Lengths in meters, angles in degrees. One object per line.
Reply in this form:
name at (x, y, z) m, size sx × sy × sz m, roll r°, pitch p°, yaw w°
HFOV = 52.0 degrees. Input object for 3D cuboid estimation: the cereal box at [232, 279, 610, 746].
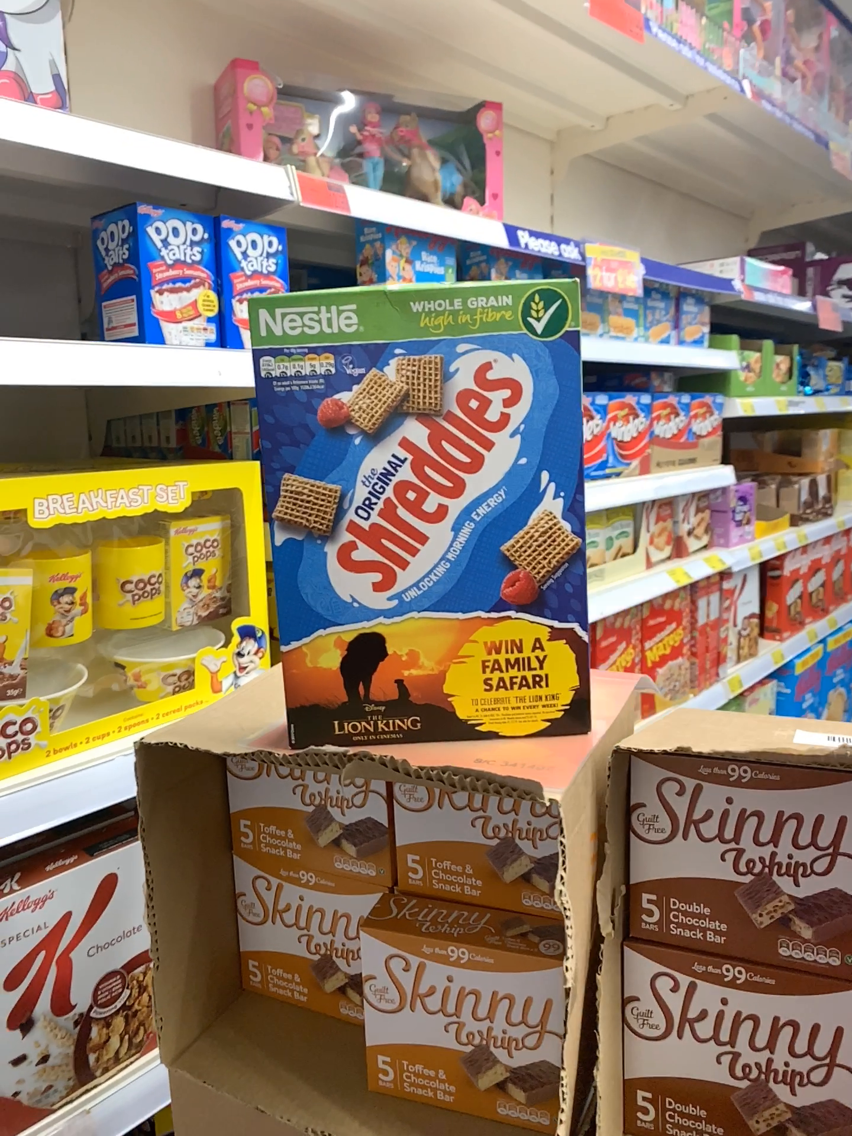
cereal box at (0.002, -0.033, 0.556) m, size 0.210 × 0.269 × 0.070 m, roll -3°, pitch 10°, yaw 1°
